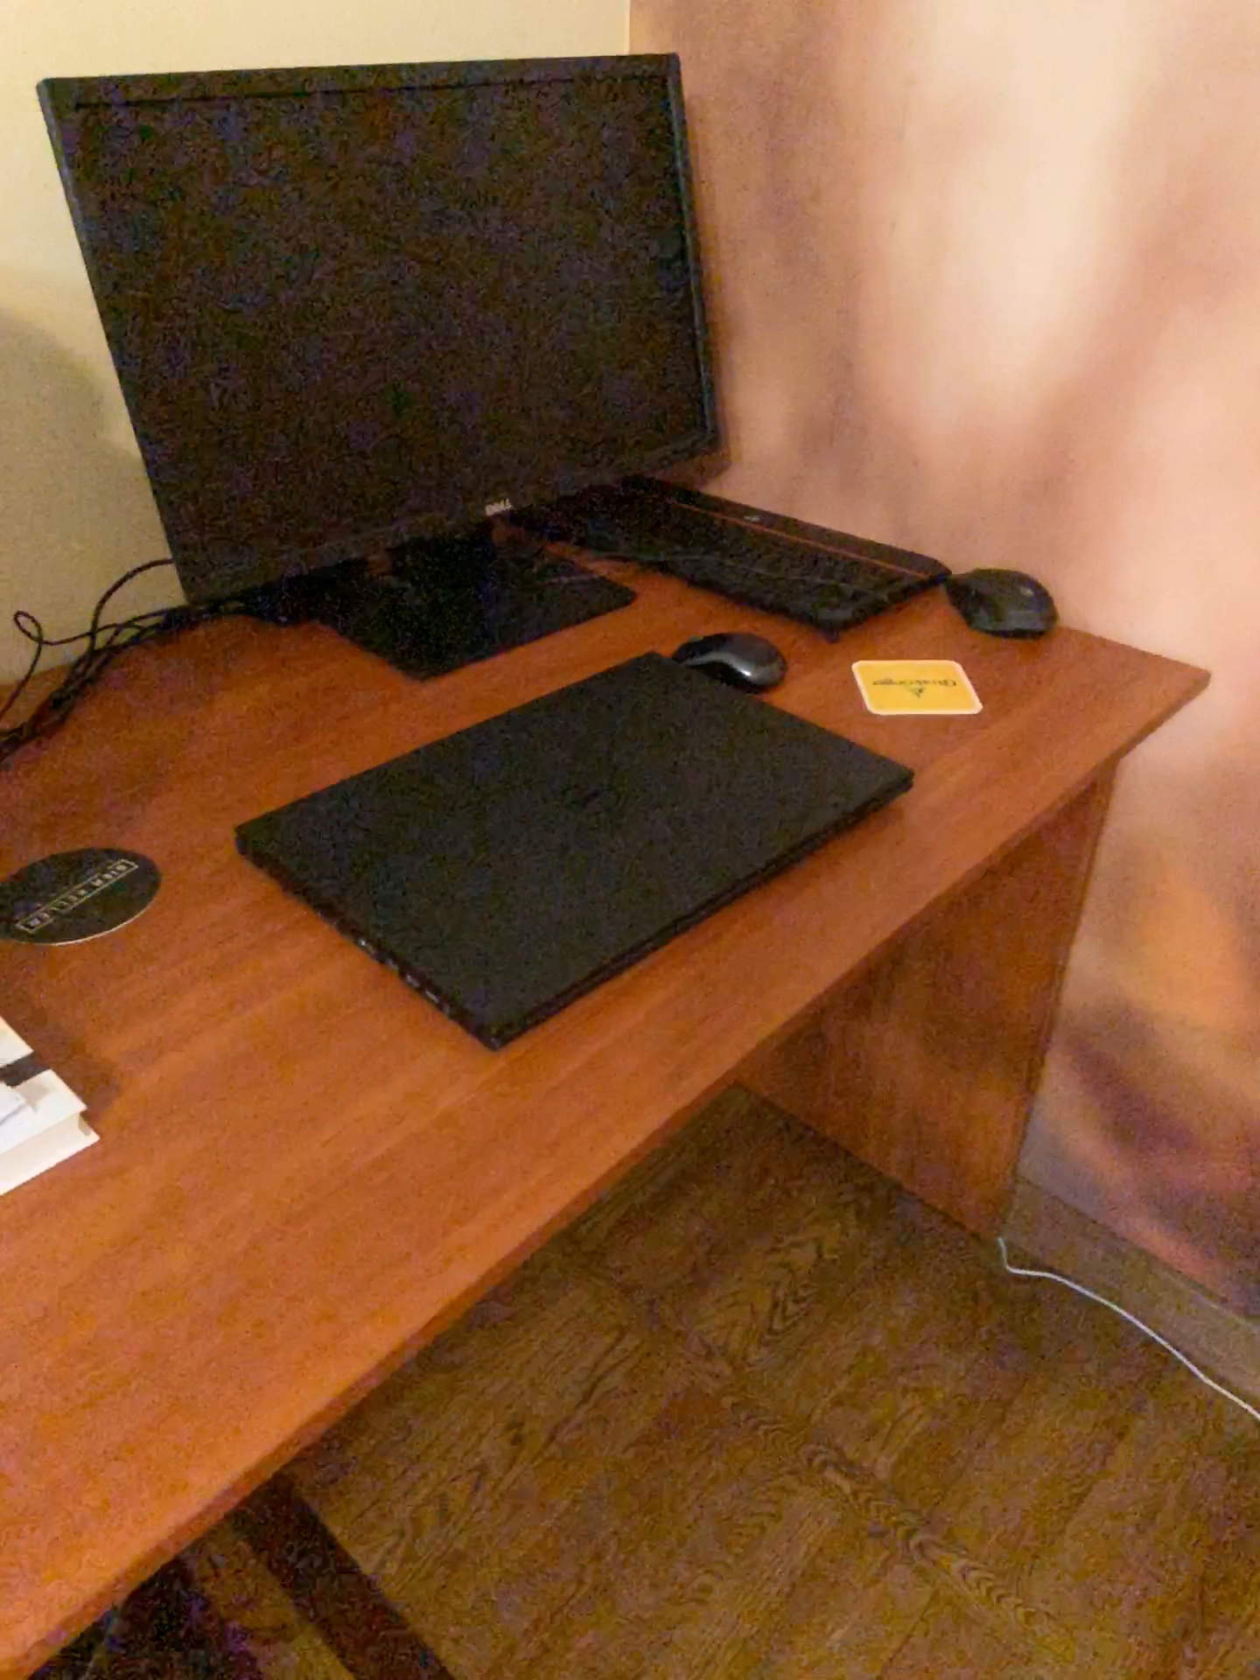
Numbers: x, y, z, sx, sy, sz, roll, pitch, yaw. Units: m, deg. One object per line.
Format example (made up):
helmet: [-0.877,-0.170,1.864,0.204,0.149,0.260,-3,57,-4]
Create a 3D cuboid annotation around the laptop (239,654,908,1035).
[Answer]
laptop: [-0.026,-0.025,0.813,0.248,0.002,0.361,29,42,35]
